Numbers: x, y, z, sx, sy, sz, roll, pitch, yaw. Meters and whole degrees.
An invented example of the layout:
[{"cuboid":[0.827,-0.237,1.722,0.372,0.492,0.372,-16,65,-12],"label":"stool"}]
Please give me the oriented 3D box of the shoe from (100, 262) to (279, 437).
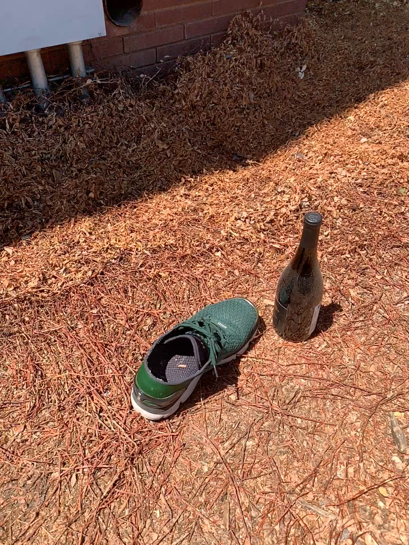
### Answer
[{"cuboid":[-0.017,0.121,0.745,0.130,0.100,0.301,35,53,28],"label":"shoe"}]
